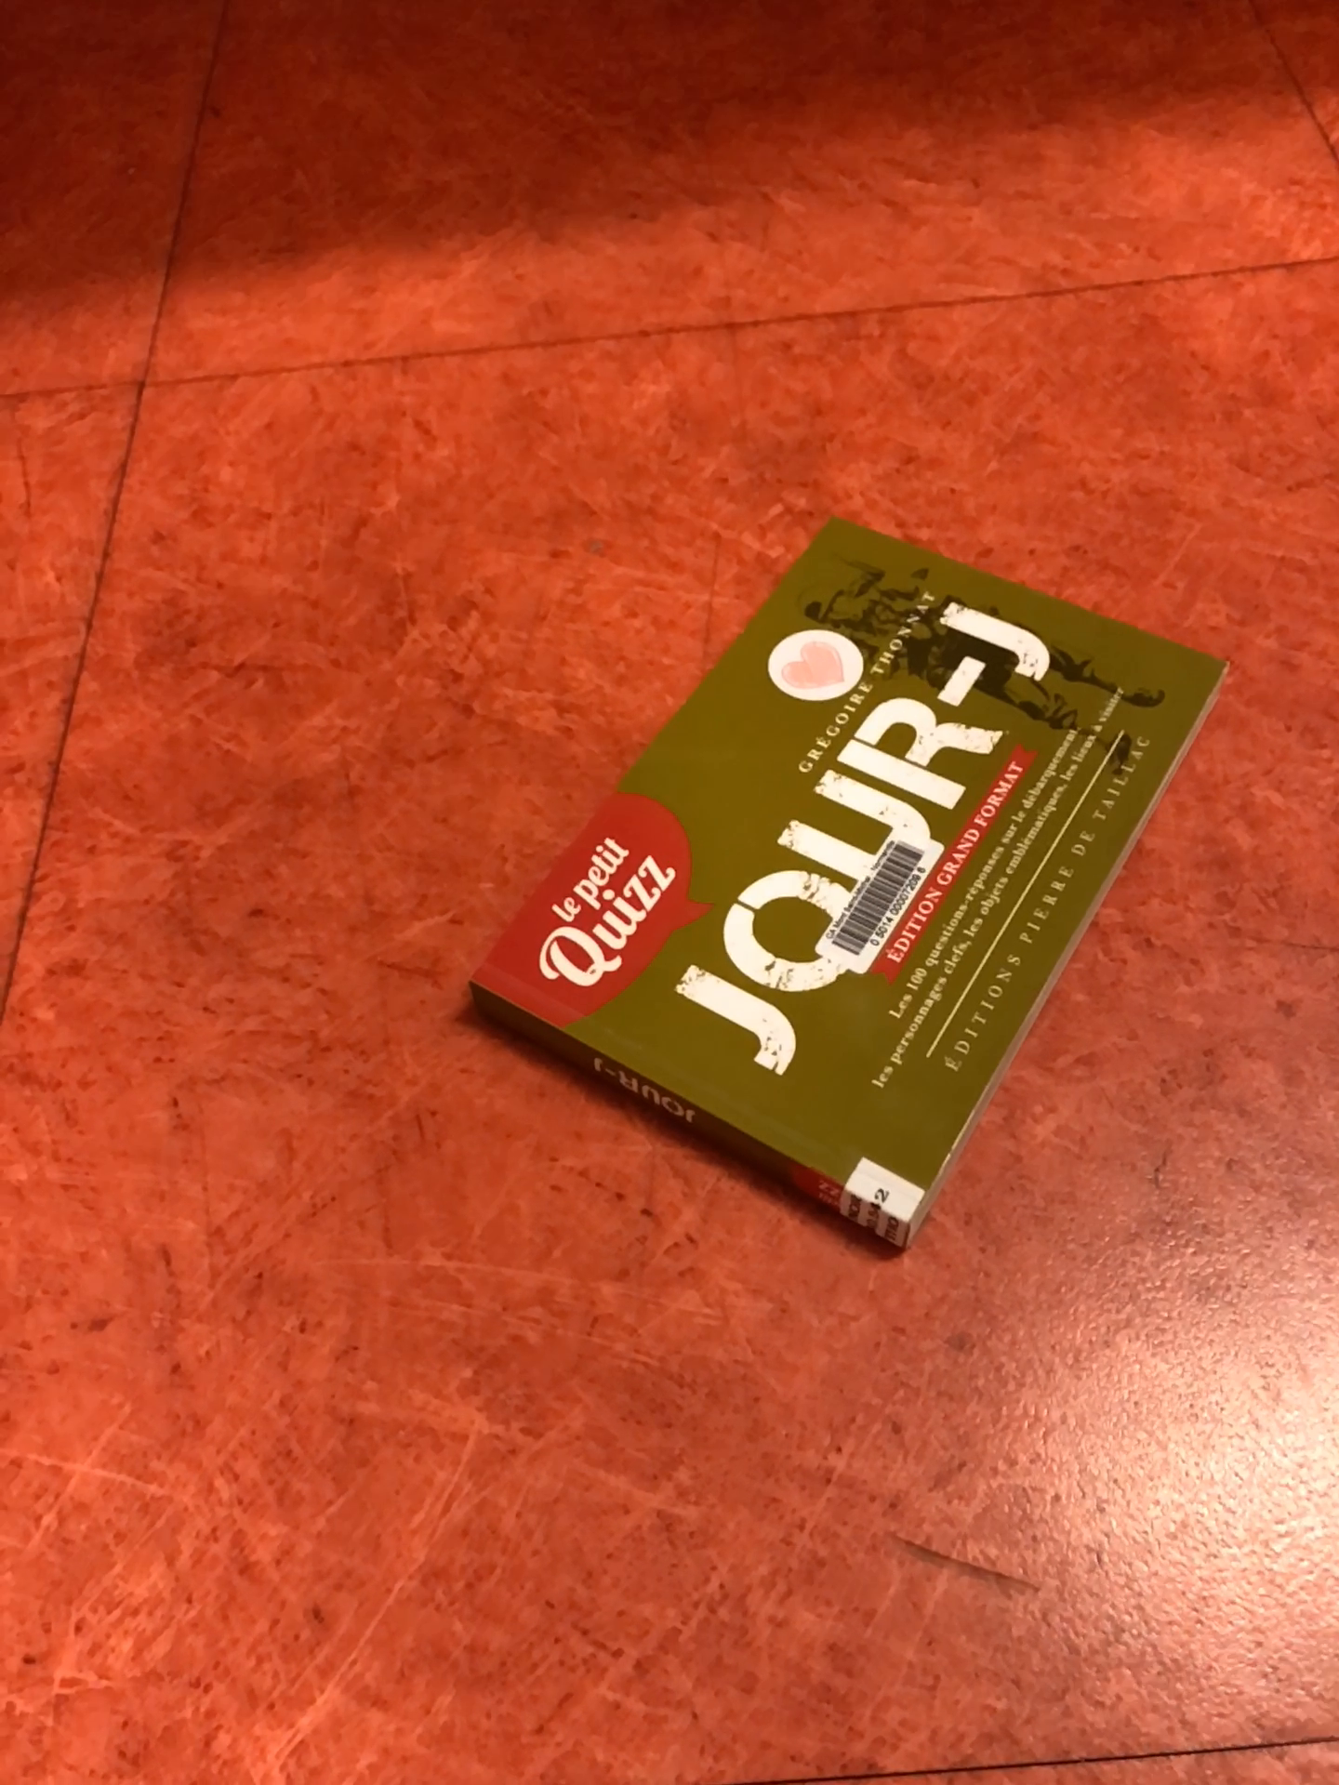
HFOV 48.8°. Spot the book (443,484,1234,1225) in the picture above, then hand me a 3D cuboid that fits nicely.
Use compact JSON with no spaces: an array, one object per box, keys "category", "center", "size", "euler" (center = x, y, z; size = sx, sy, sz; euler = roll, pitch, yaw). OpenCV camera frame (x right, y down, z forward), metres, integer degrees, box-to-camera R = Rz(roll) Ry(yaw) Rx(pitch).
[{"category":"book","center":[0.056,-0.028,0.430],"size":[0.136,0.016,0.219],"euler":[26,60,21]}]
